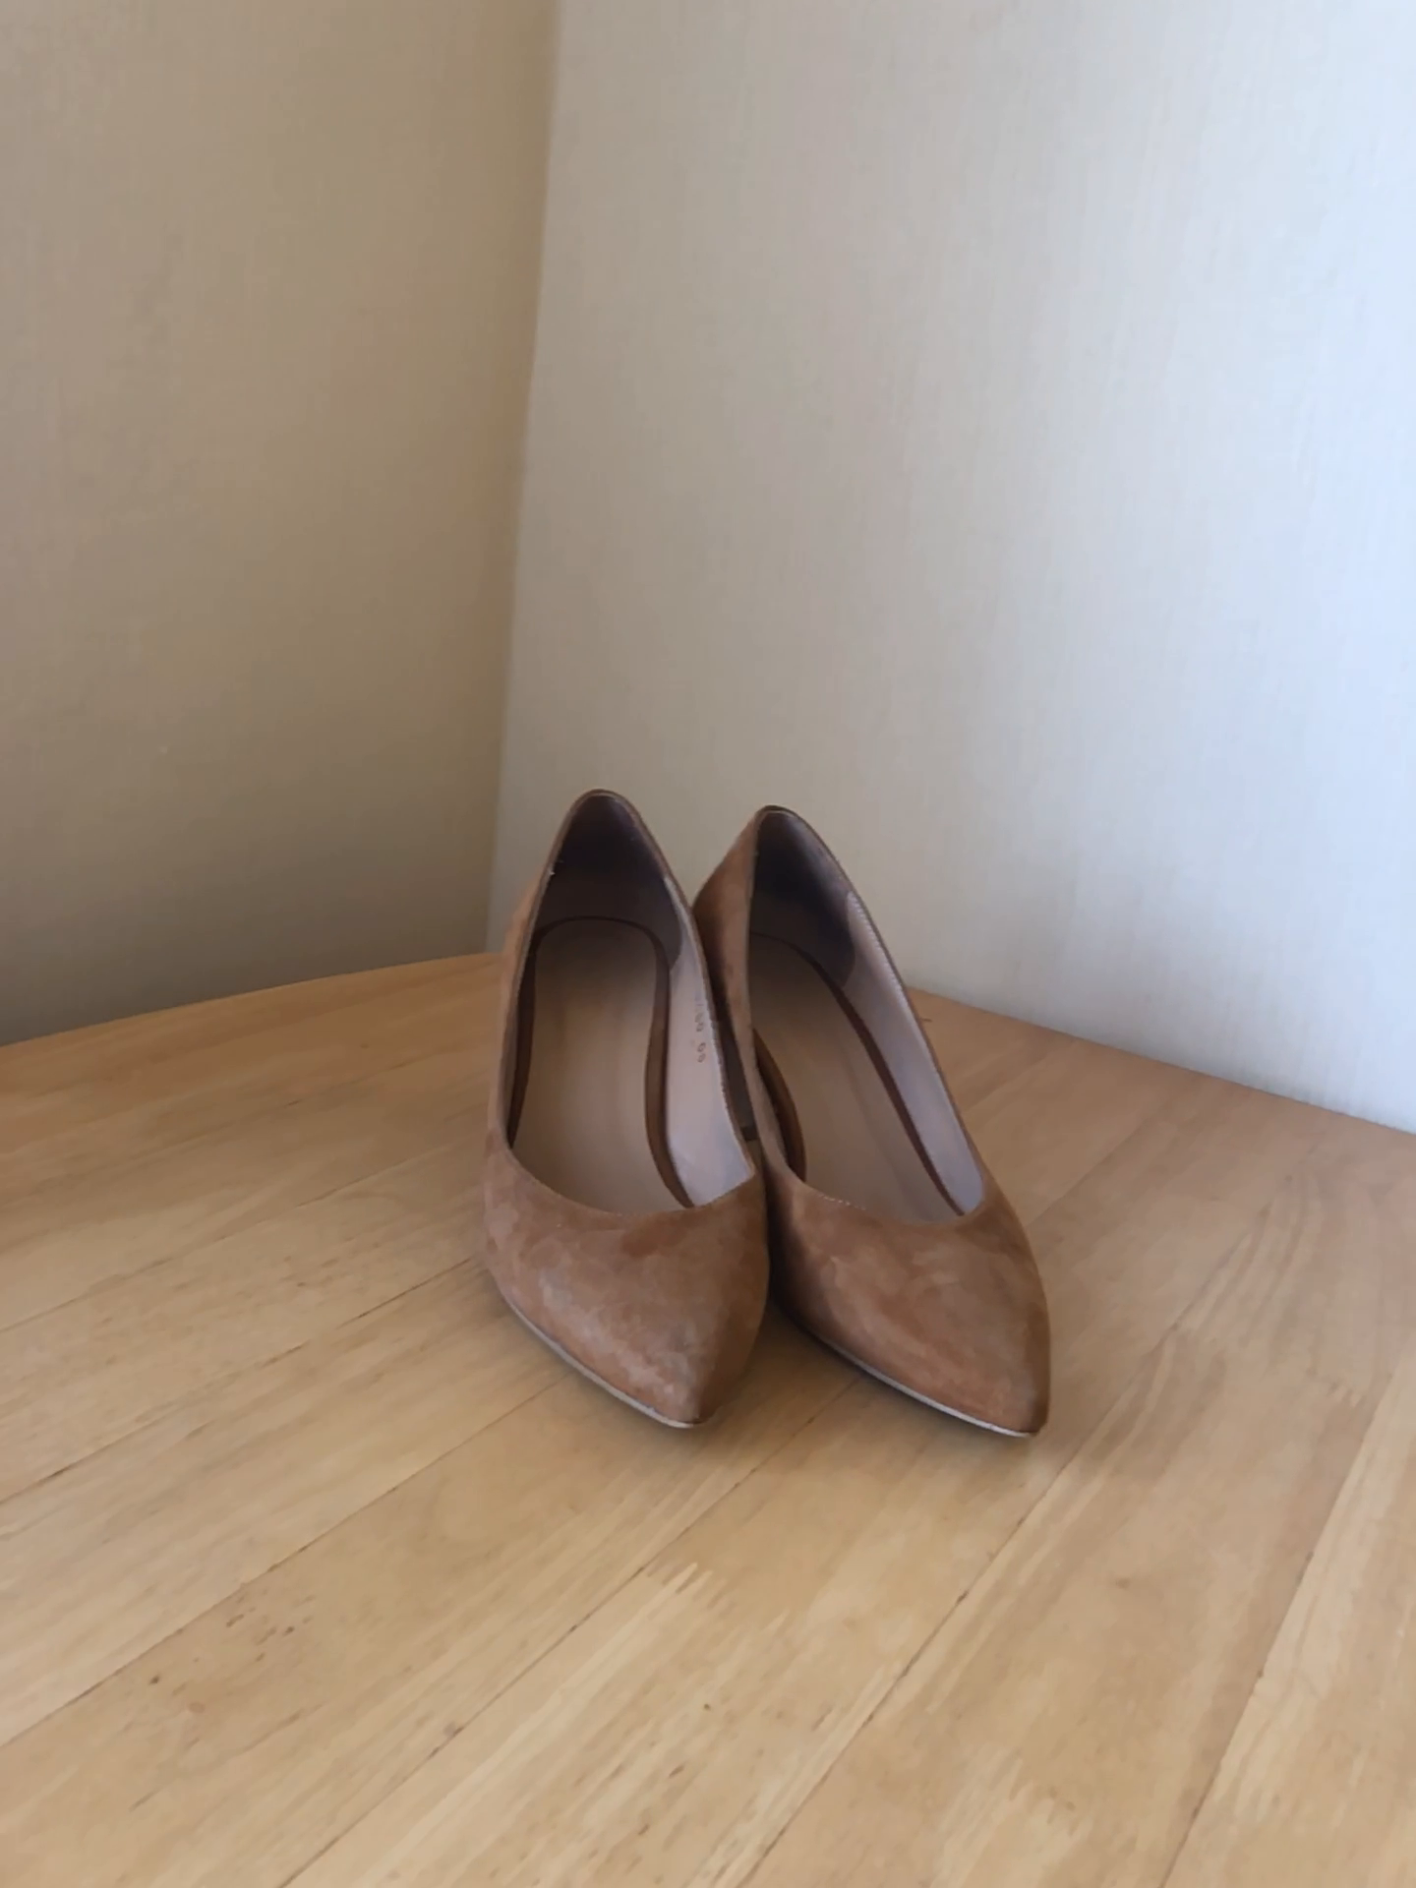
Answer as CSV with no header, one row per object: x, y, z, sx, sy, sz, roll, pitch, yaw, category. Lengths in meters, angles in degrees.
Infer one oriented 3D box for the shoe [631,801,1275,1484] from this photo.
0.053,0.040,0.497,0.089,0.110,0.261,2,17,-17,shoe

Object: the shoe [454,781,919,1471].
-0.025,0.034,0.473,0.089,0.110,0.251,3,17,-12,shoe
